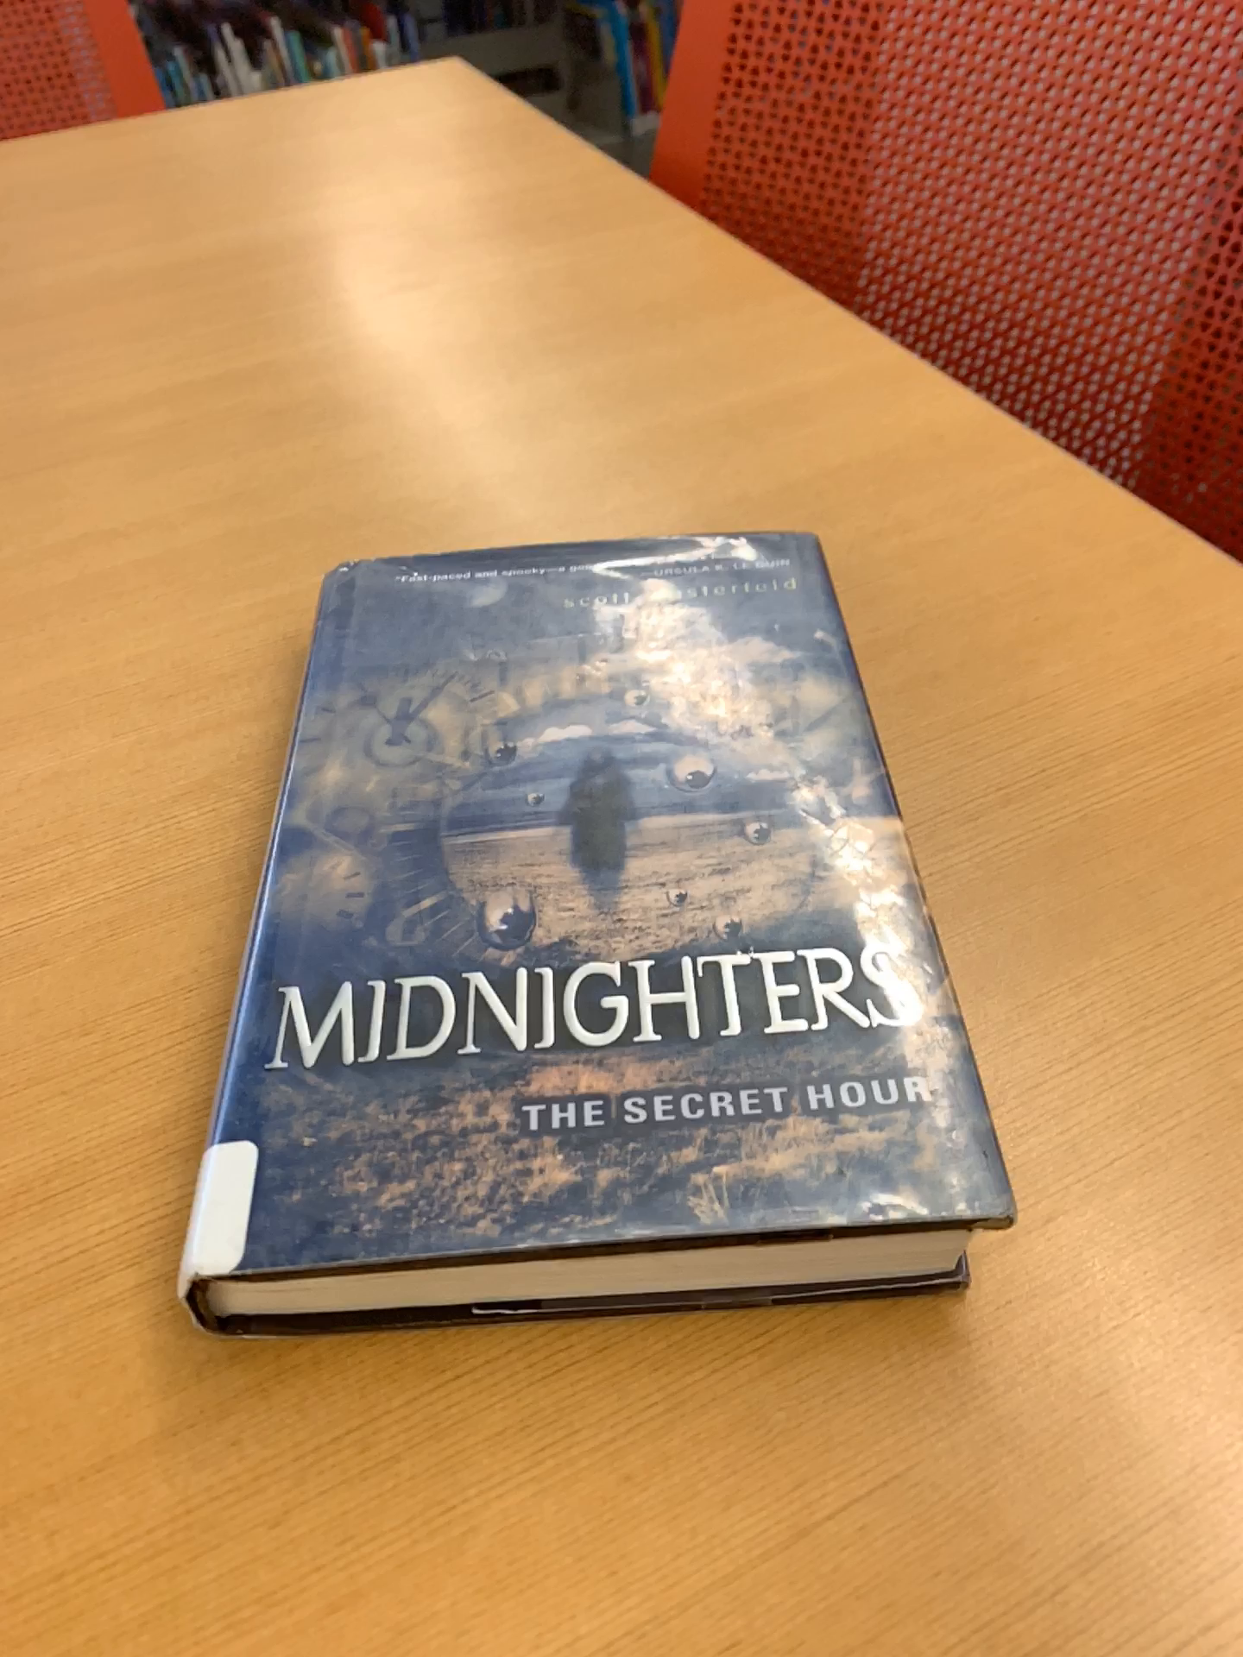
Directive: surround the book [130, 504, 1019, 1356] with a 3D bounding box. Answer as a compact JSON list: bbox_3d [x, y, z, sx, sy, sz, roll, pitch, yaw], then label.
[{"bbox_3d":[-0.012,0.003,0.307,0.151,0.036,0.221,-3,46,0],"label":"book"}]
